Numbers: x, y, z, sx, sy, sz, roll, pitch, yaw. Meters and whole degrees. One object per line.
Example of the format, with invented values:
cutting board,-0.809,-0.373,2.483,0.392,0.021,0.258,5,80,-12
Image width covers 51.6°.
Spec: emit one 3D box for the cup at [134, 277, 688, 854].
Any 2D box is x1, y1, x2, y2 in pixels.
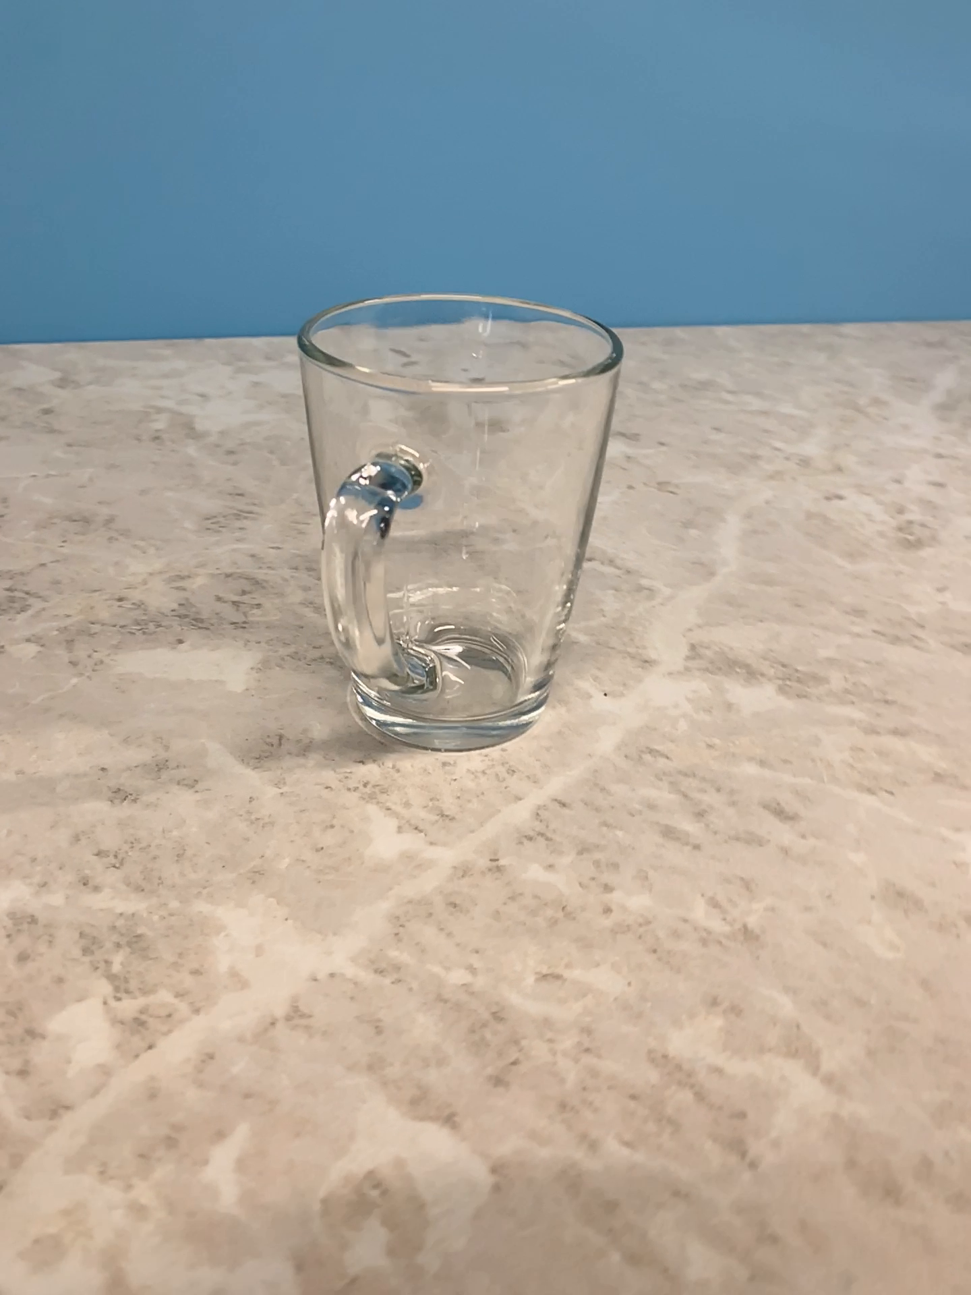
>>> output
cup,-0.012,-0.032,0.268,0.089,0.097,0.116,16,34,19
